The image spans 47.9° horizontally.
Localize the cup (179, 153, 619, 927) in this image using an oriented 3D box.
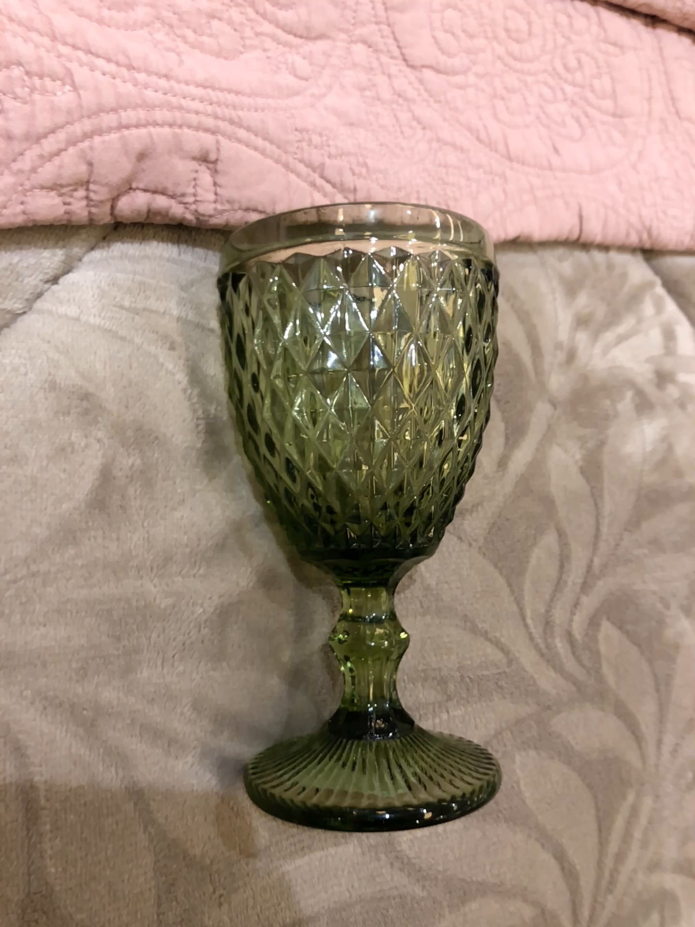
[{"bbox_3d":[0.011,0.023,0.242,0.090,0.080,0.190,1,81,-34],"label":"cup"}]
